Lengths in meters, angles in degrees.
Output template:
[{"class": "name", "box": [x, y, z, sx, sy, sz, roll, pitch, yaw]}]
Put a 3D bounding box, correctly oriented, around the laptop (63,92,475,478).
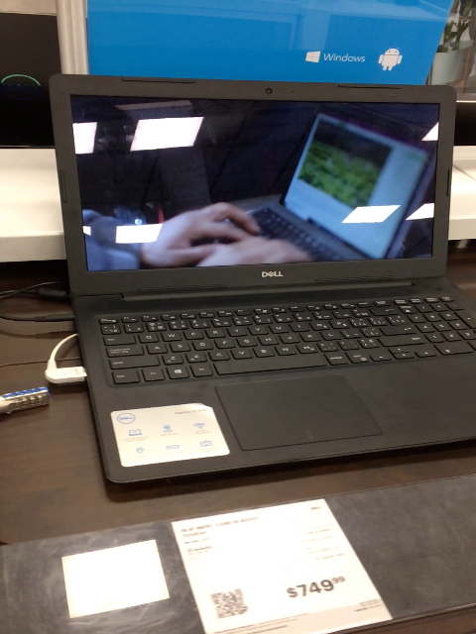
[{"class": "laptop", "box": [0.075, -0.062, 0.566, 0.418, 0.192, 0.344, -5, 38, -14]}]
